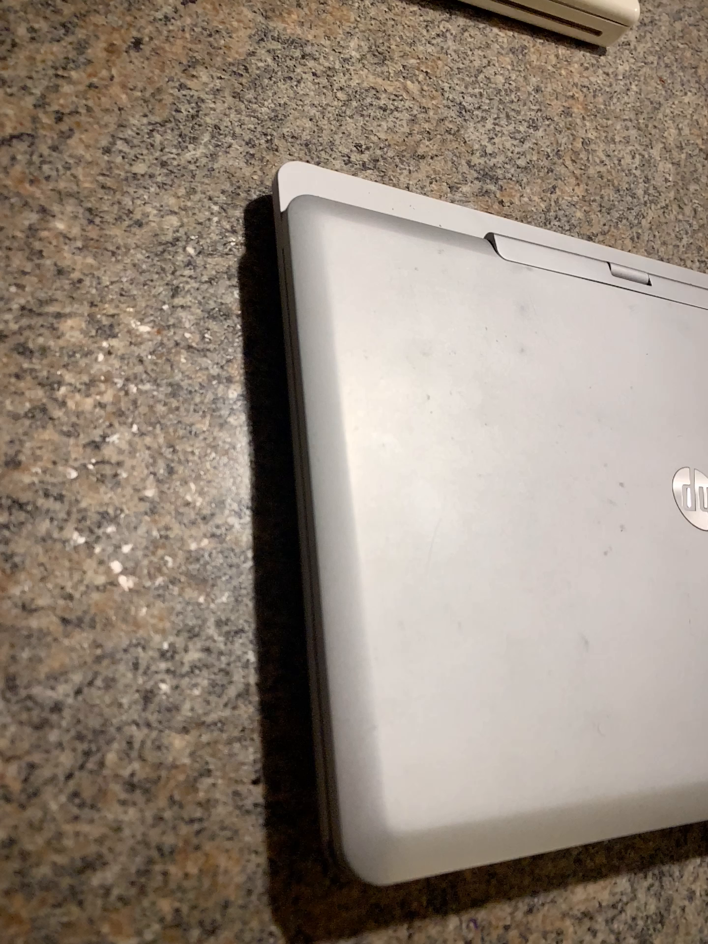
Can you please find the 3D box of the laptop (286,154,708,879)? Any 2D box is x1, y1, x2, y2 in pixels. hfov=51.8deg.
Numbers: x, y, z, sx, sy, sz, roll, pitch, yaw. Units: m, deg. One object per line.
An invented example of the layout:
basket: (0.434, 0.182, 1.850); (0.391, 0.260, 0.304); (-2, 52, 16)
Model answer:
laptop: (0.111, 0.003, 0.243); (0.268, 0.005, 0.194); (5, 64, -26)
